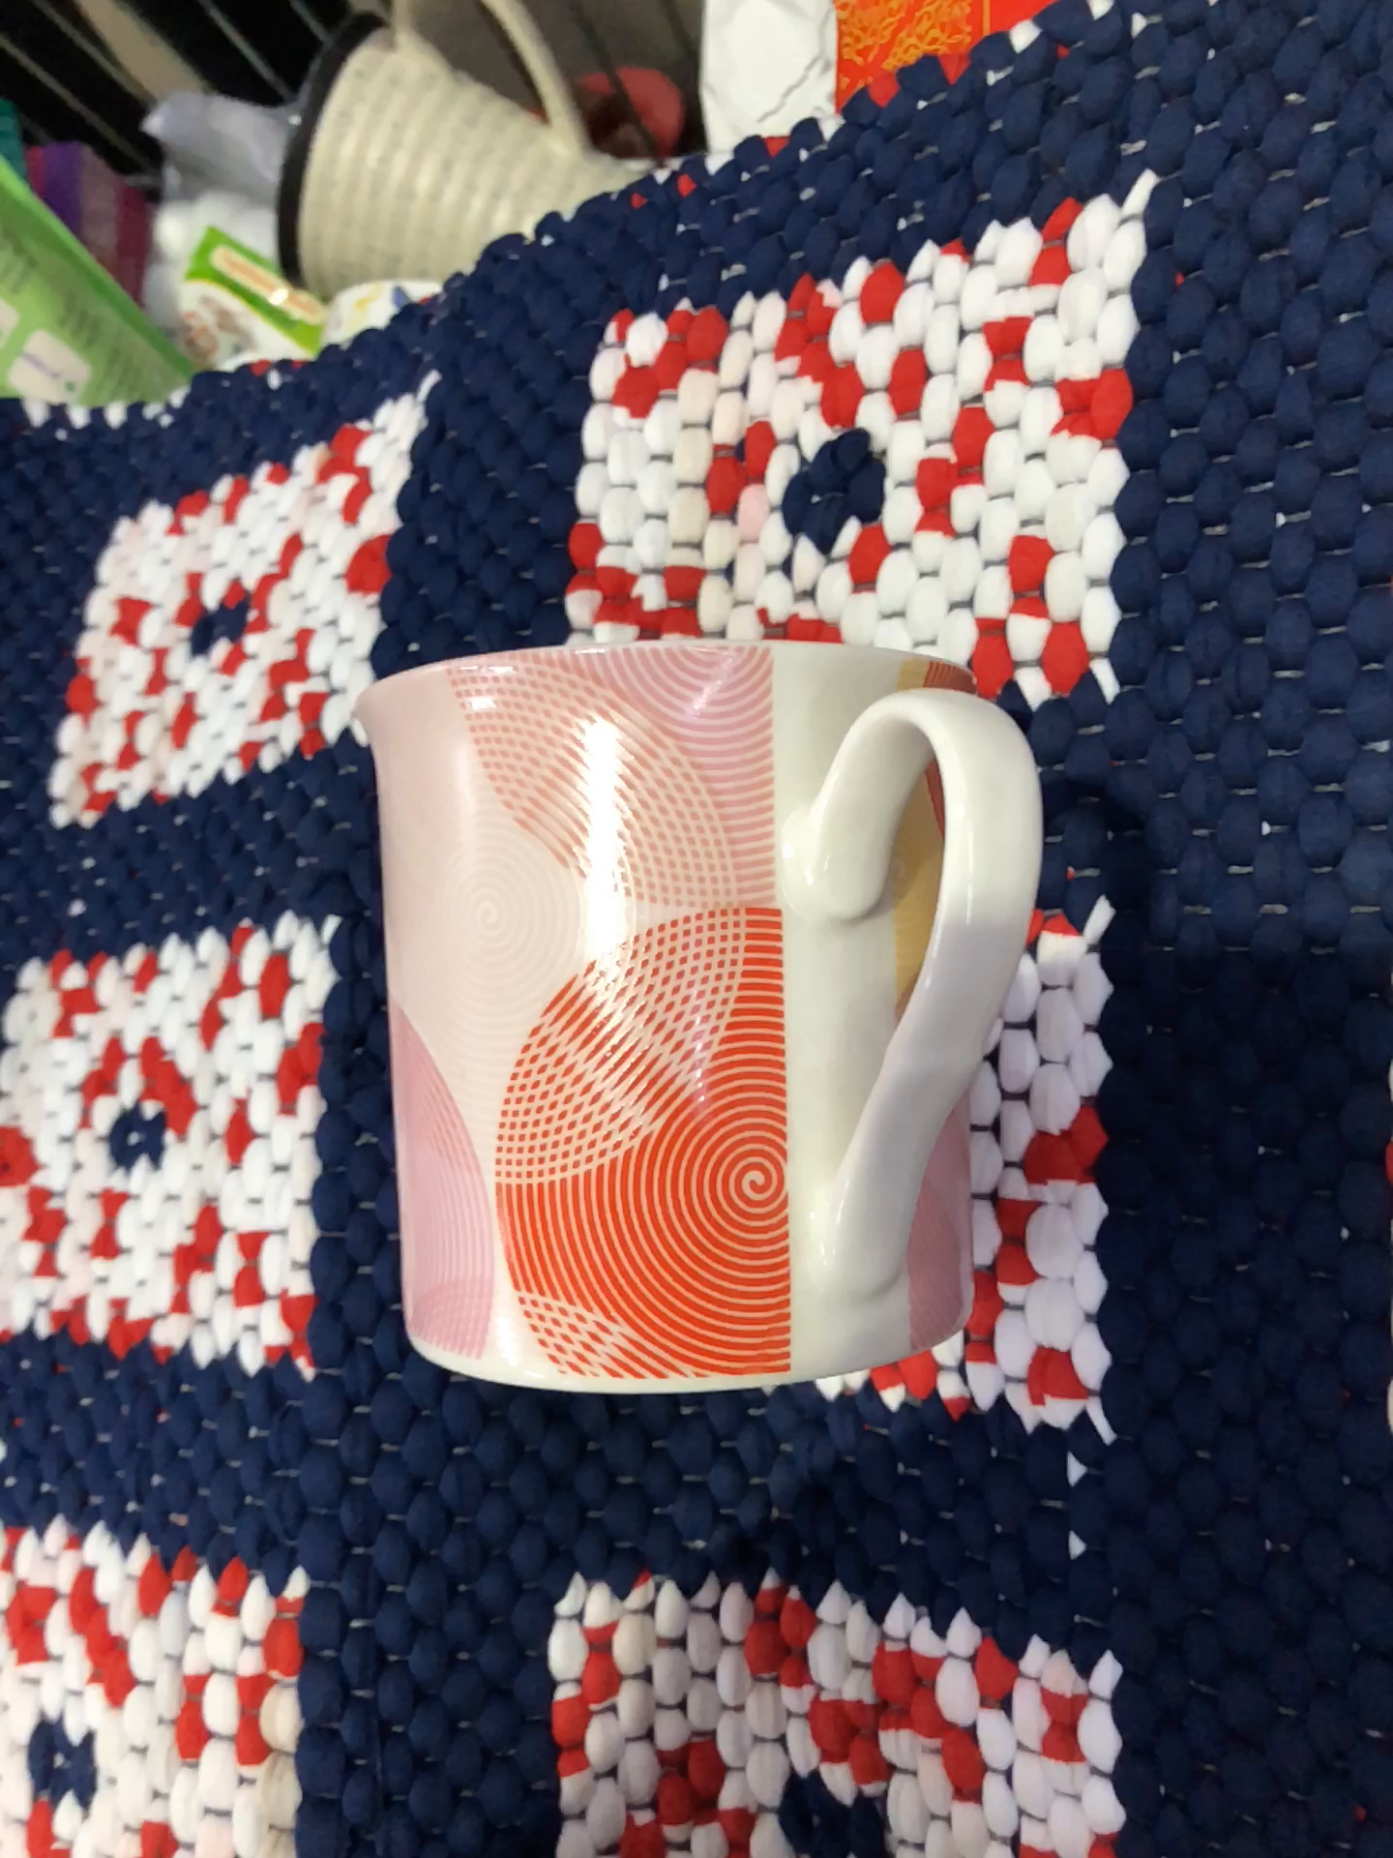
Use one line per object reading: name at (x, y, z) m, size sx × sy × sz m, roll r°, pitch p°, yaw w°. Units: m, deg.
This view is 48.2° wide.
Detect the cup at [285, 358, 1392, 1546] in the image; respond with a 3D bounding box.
cup at (0.016, 0.007, 0.208) m, size 0.120 × 0.100 × 0.100 m, roll -8°, pitch 81°, yaw 55°
